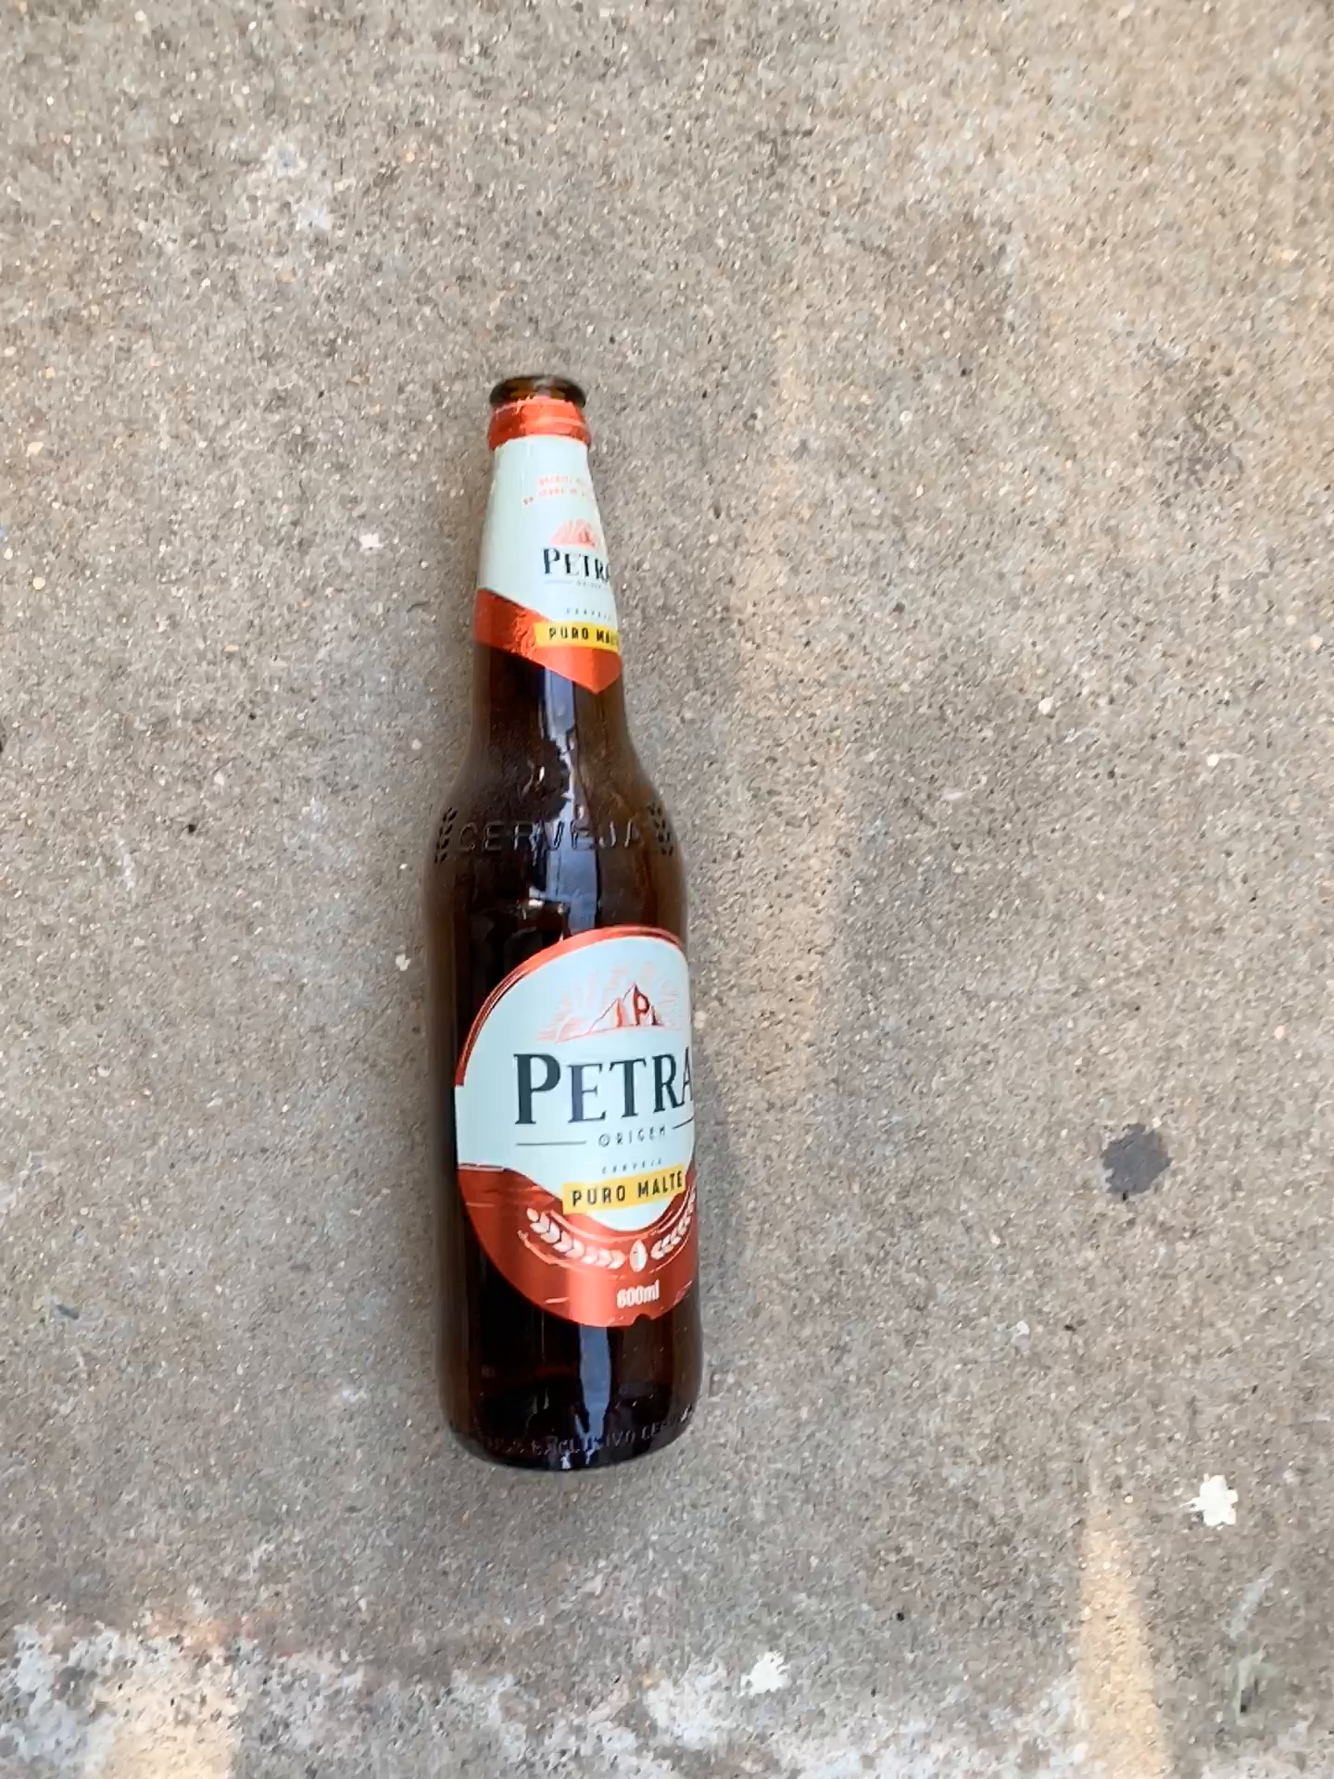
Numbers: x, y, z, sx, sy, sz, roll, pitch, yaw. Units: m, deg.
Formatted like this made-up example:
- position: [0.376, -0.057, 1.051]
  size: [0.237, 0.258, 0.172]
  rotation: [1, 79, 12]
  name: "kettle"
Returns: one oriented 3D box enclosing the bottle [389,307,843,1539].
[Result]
- position: [-0.015, 0.006, 0.352]
  size: [0.080, 0.070, 0.270]
  rotation: [1, 84, -38]
  name: "bottle"
